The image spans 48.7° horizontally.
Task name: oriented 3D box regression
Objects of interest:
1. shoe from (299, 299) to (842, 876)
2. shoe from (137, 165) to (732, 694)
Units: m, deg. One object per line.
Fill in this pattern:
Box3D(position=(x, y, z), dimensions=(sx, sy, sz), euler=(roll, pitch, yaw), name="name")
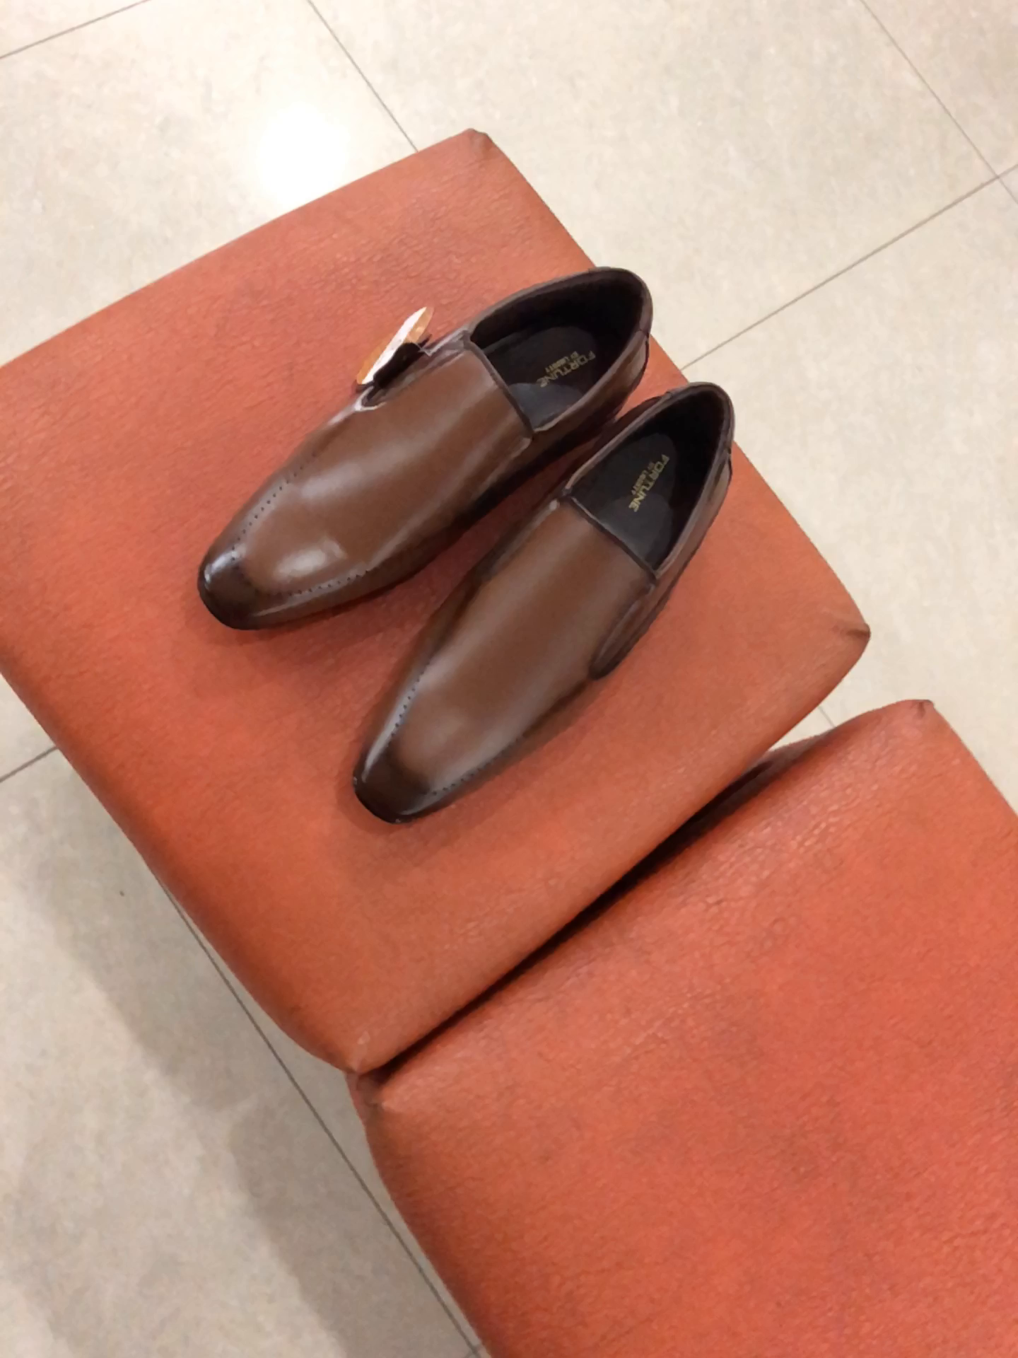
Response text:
Box3D(position=(0.032, -0.047, 0.588), dimensions=(0.101, 0.108, 0.295), euler=(42, 71, -1), name="shoe")
Box3D(position=(-0.038, -0.131, 0.602), dimensions=(0.293, 0.128, 0.099), euler=(-38, 87, -19), name="shoe")
